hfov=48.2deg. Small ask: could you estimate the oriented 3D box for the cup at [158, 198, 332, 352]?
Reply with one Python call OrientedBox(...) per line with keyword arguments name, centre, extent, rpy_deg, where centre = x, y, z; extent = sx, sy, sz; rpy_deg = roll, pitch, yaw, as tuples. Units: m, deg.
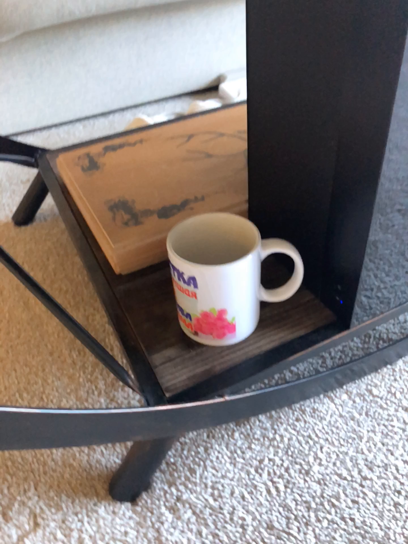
OrientedBox(name="cup", centre=(0.034, 0.002, 0.431), extent=(0.140, 0.099, 0.090), rpy_deg=(-5, 40, 0))
